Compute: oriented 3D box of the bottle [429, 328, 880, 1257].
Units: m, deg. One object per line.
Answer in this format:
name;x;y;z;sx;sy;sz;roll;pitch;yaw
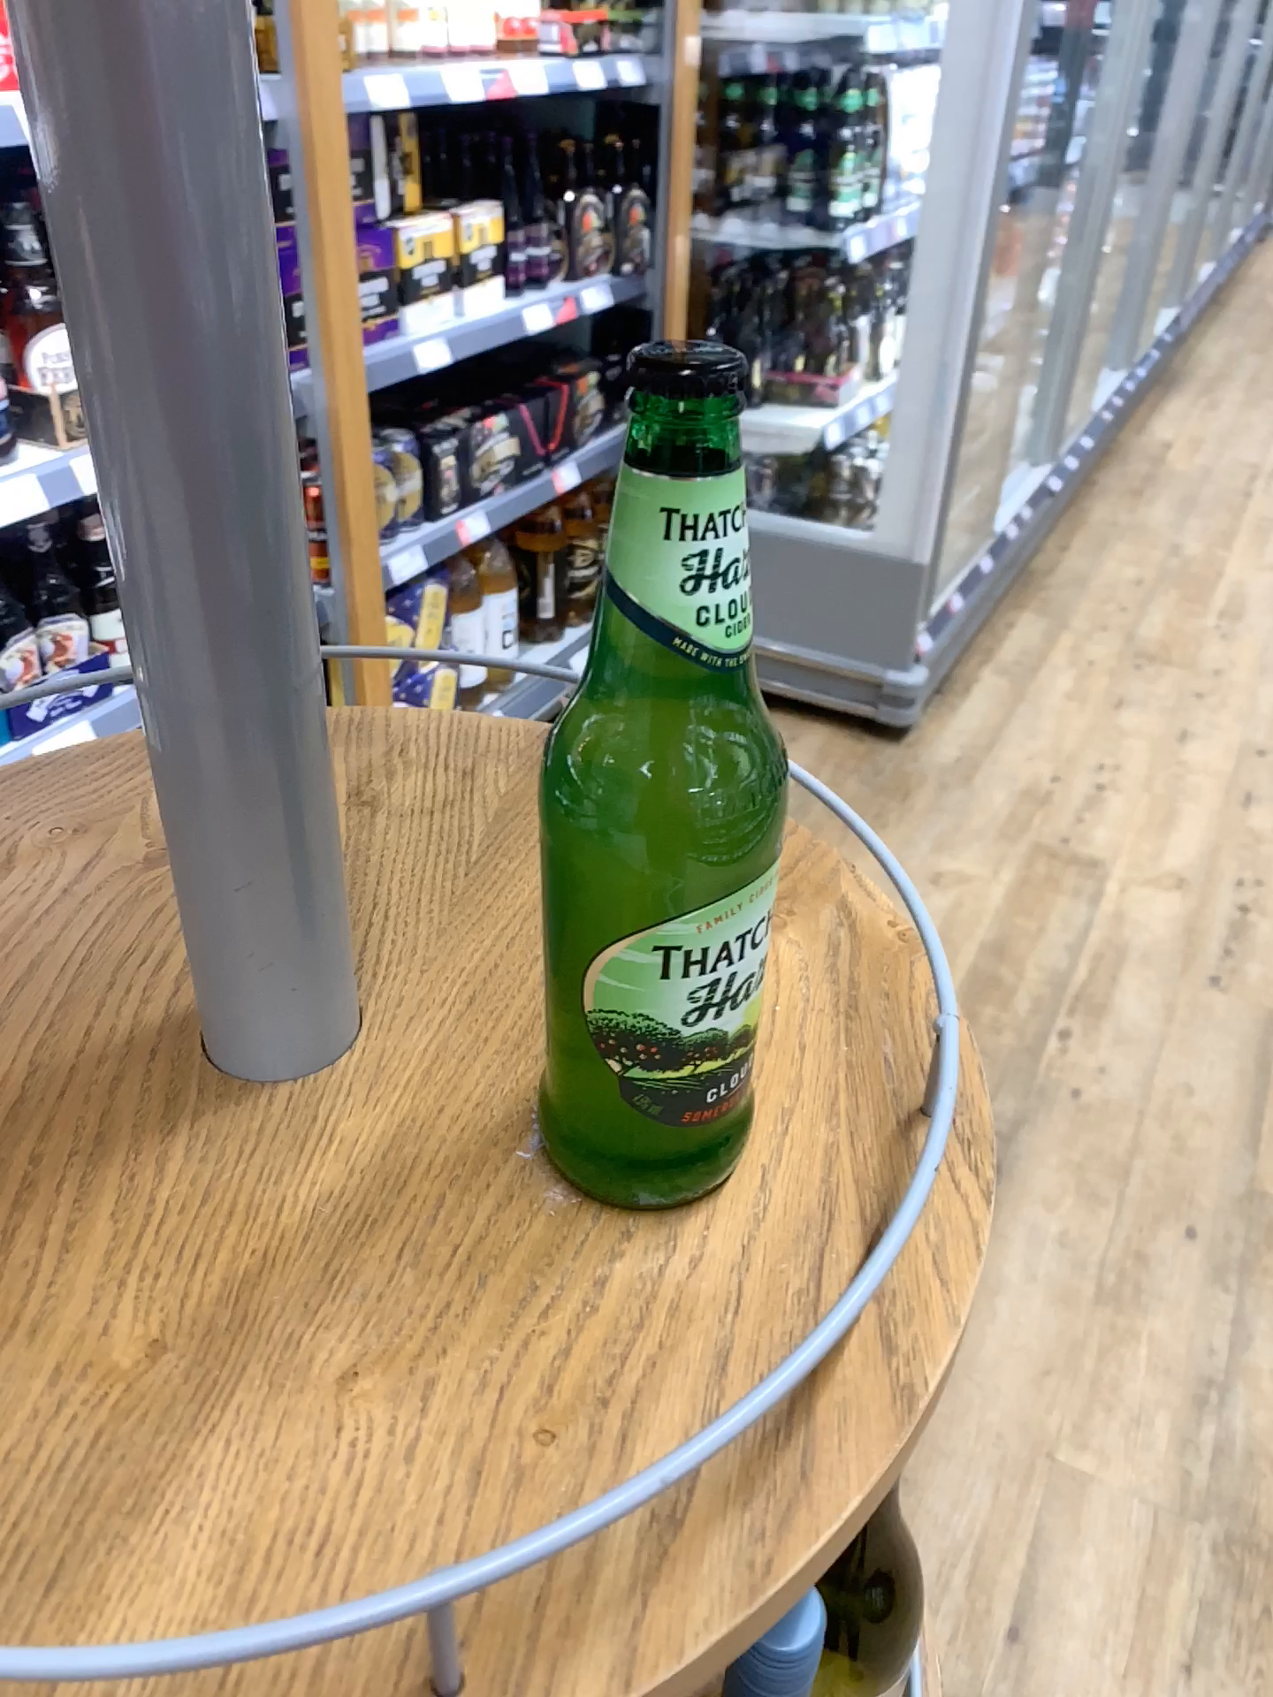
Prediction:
bottle;0.001;-0.008;0.366;0.078;0.240;0.070;24;39;29
